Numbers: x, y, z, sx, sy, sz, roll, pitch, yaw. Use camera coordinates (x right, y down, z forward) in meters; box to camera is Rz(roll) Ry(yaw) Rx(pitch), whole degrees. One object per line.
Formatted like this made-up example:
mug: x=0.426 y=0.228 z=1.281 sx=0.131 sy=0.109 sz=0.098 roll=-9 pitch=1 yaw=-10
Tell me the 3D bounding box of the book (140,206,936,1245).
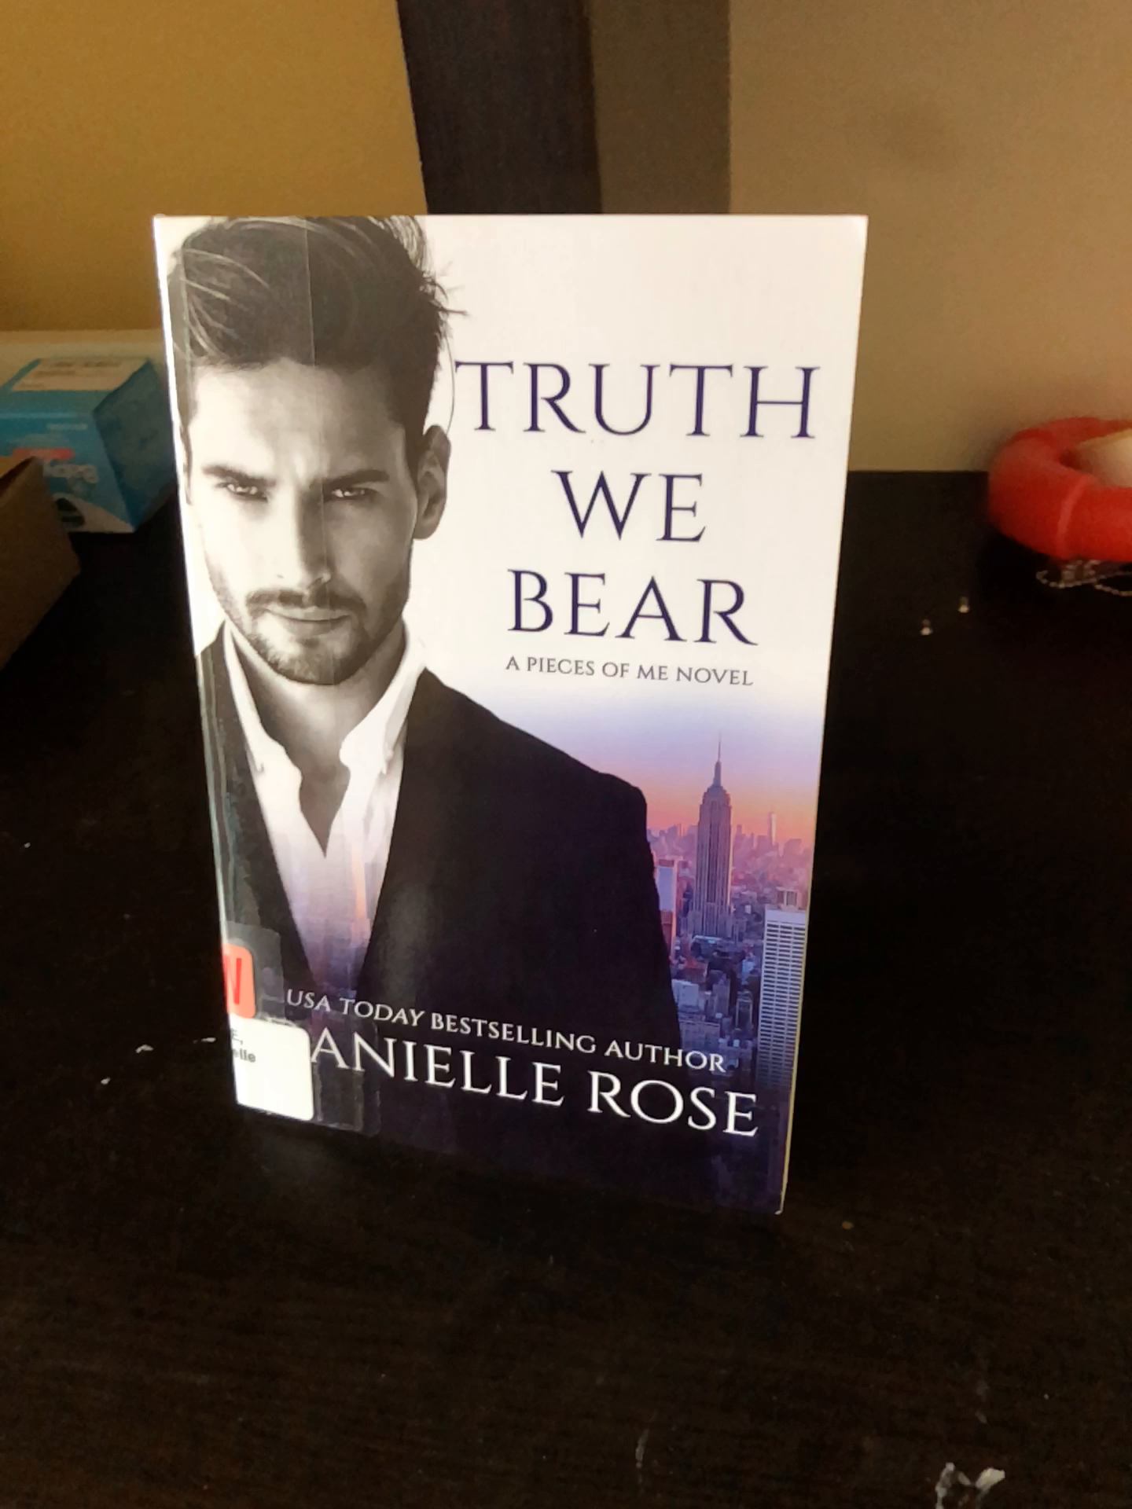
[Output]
book: x=-0.009 y=0.000 z=0.277 sx=0.150 sy=0.220 sz=0.020 roll=5 pitch=21 yaw=12
